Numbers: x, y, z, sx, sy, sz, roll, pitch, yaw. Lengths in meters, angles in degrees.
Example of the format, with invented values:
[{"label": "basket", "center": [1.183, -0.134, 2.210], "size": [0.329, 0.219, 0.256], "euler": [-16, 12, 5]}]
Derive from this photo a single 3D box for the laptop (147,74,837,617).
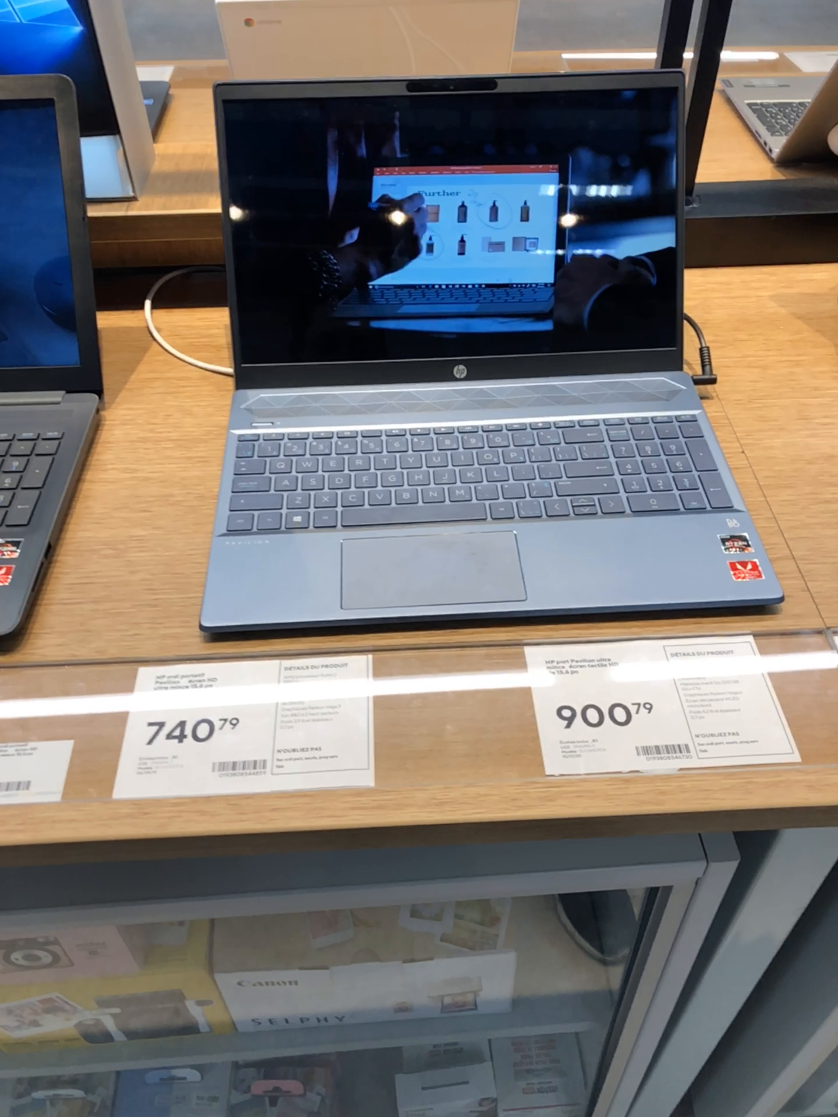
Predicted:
[{"label": "laptop", "center": [0.037, -0.163, 0.611], "size": [0.338, 0.185, 0.357], "euler": [-2, 44, -3]}]
